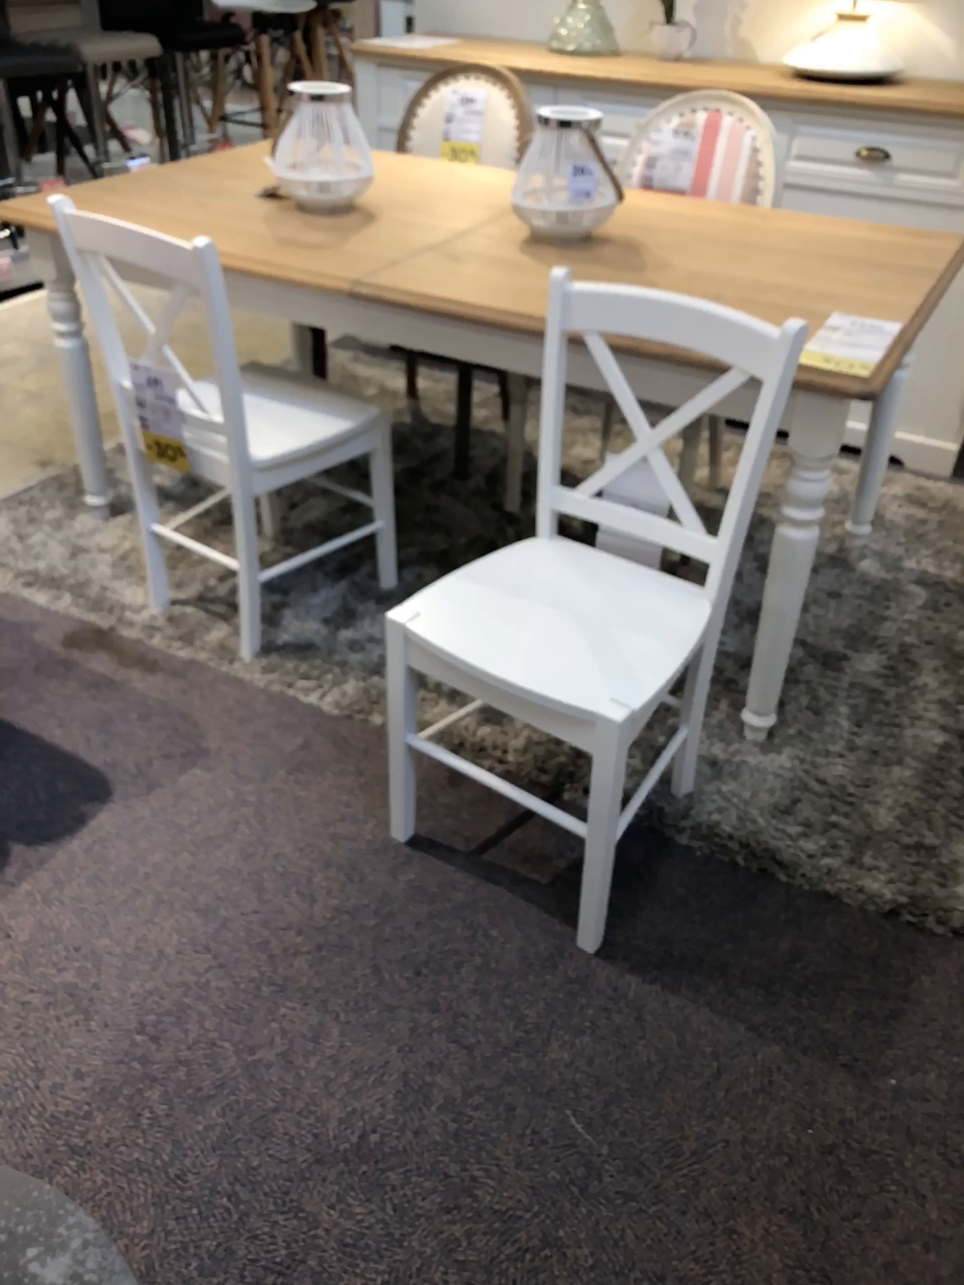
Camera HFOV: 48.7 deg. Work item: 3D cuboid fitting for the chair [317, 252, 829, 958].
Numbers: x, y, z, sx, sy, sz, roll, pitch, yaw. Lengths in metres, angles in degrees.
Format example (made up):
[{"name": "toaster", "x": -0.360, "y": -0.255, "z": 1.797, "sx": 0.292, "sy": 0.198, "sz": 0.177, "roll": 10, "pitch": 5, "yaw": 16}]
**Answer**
[{"name": "chair", "x": 0.114, "y": -0.070, "z": 1.529, "sx": 0.460, "sy": 0.785, "sz": 0.463, "roll": 22, "pitch": 39, "yaw": 27}]
